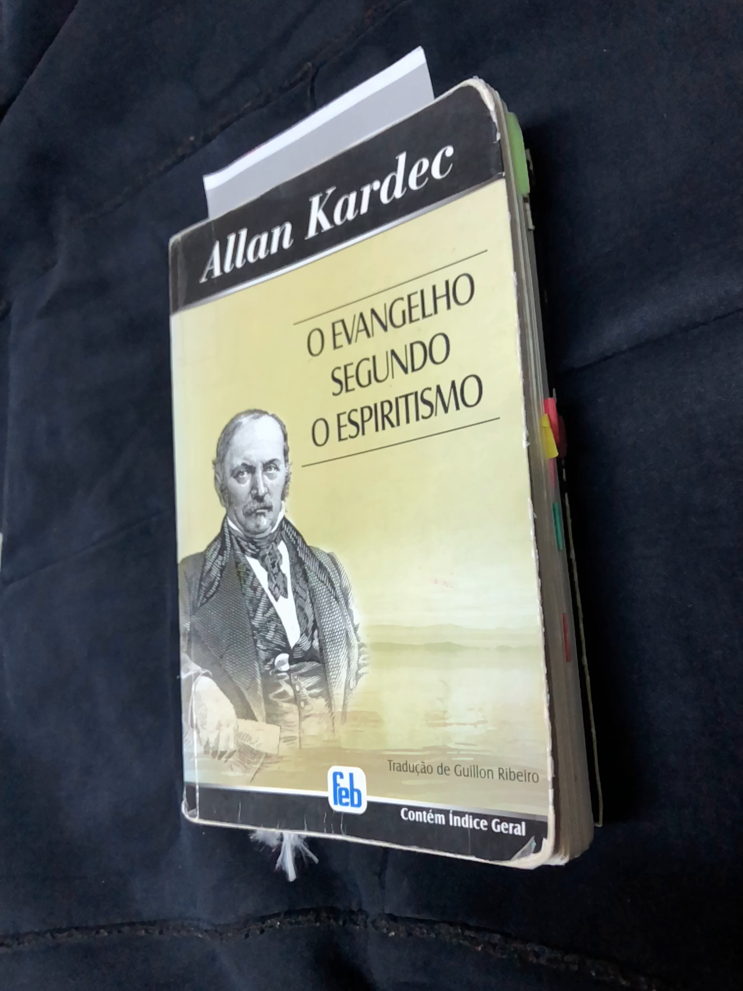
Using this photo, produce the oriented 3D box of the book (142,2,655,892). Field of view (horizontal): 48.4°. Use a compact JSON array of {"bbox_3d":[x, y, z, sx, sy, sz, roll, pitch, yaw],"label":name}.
[{"bbox_3d":[-0.007,-0.008,0.265,0.151,0.050,0.220,-13,76,39],"label":"book"}]
